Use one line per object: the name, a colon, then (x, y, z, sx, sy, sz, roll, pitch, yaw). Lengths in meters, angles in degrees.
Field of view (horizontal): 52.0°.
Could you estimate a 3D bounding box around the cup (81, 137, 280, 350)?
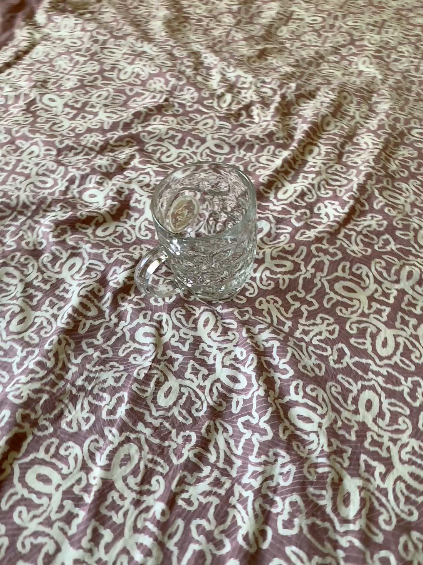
cup: (-0.022, -0.036, 0.386, 0.130, 0.109, 0.090, -37, 59, -25)
